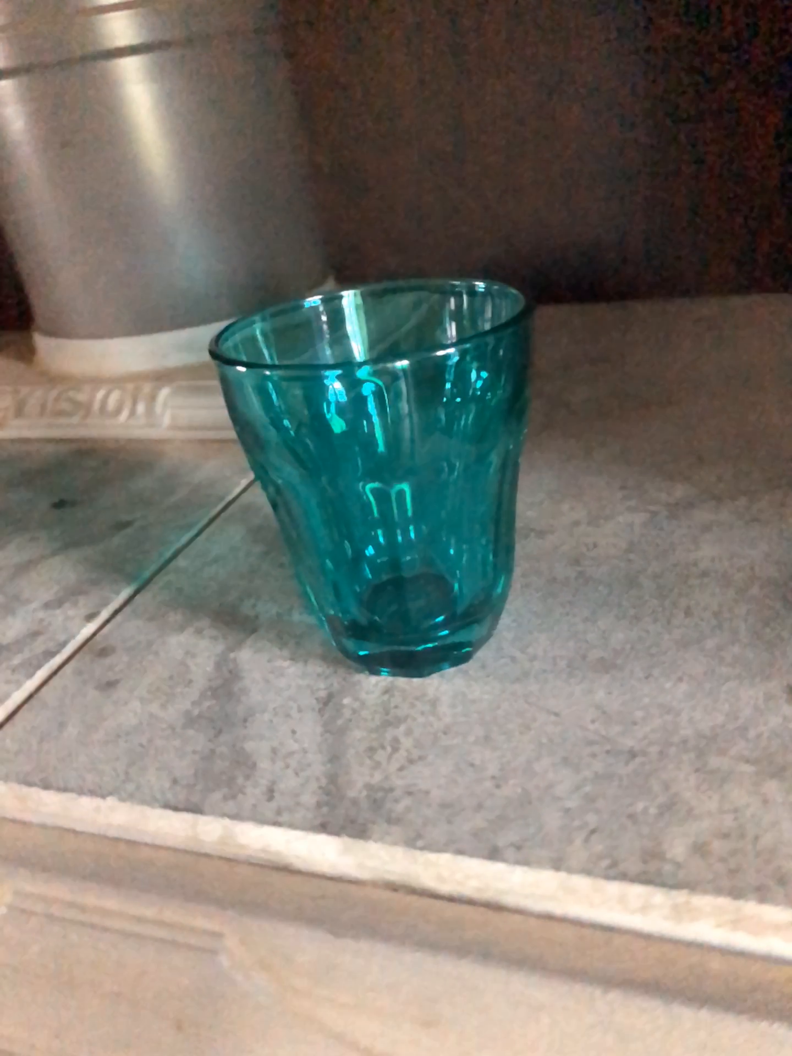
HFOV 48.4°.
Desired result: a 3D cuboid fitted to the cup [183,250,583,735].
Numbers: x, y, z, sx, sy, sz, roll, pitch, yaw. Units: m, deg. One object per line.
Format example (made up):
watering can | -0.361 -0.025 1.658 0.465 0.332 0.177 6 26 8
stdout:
cup | -0.005 -0.013 0.207 0.070 0.080 0.070 -7 27 4
